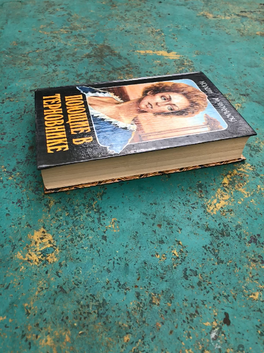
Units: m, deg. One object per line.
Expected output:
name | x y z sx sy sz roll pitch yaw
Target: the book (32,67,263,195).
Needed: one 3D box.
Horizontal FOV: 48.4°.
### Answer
book | 0.006 -0.060 0.310 0.208 0.032 0.139 -9 47 -10
